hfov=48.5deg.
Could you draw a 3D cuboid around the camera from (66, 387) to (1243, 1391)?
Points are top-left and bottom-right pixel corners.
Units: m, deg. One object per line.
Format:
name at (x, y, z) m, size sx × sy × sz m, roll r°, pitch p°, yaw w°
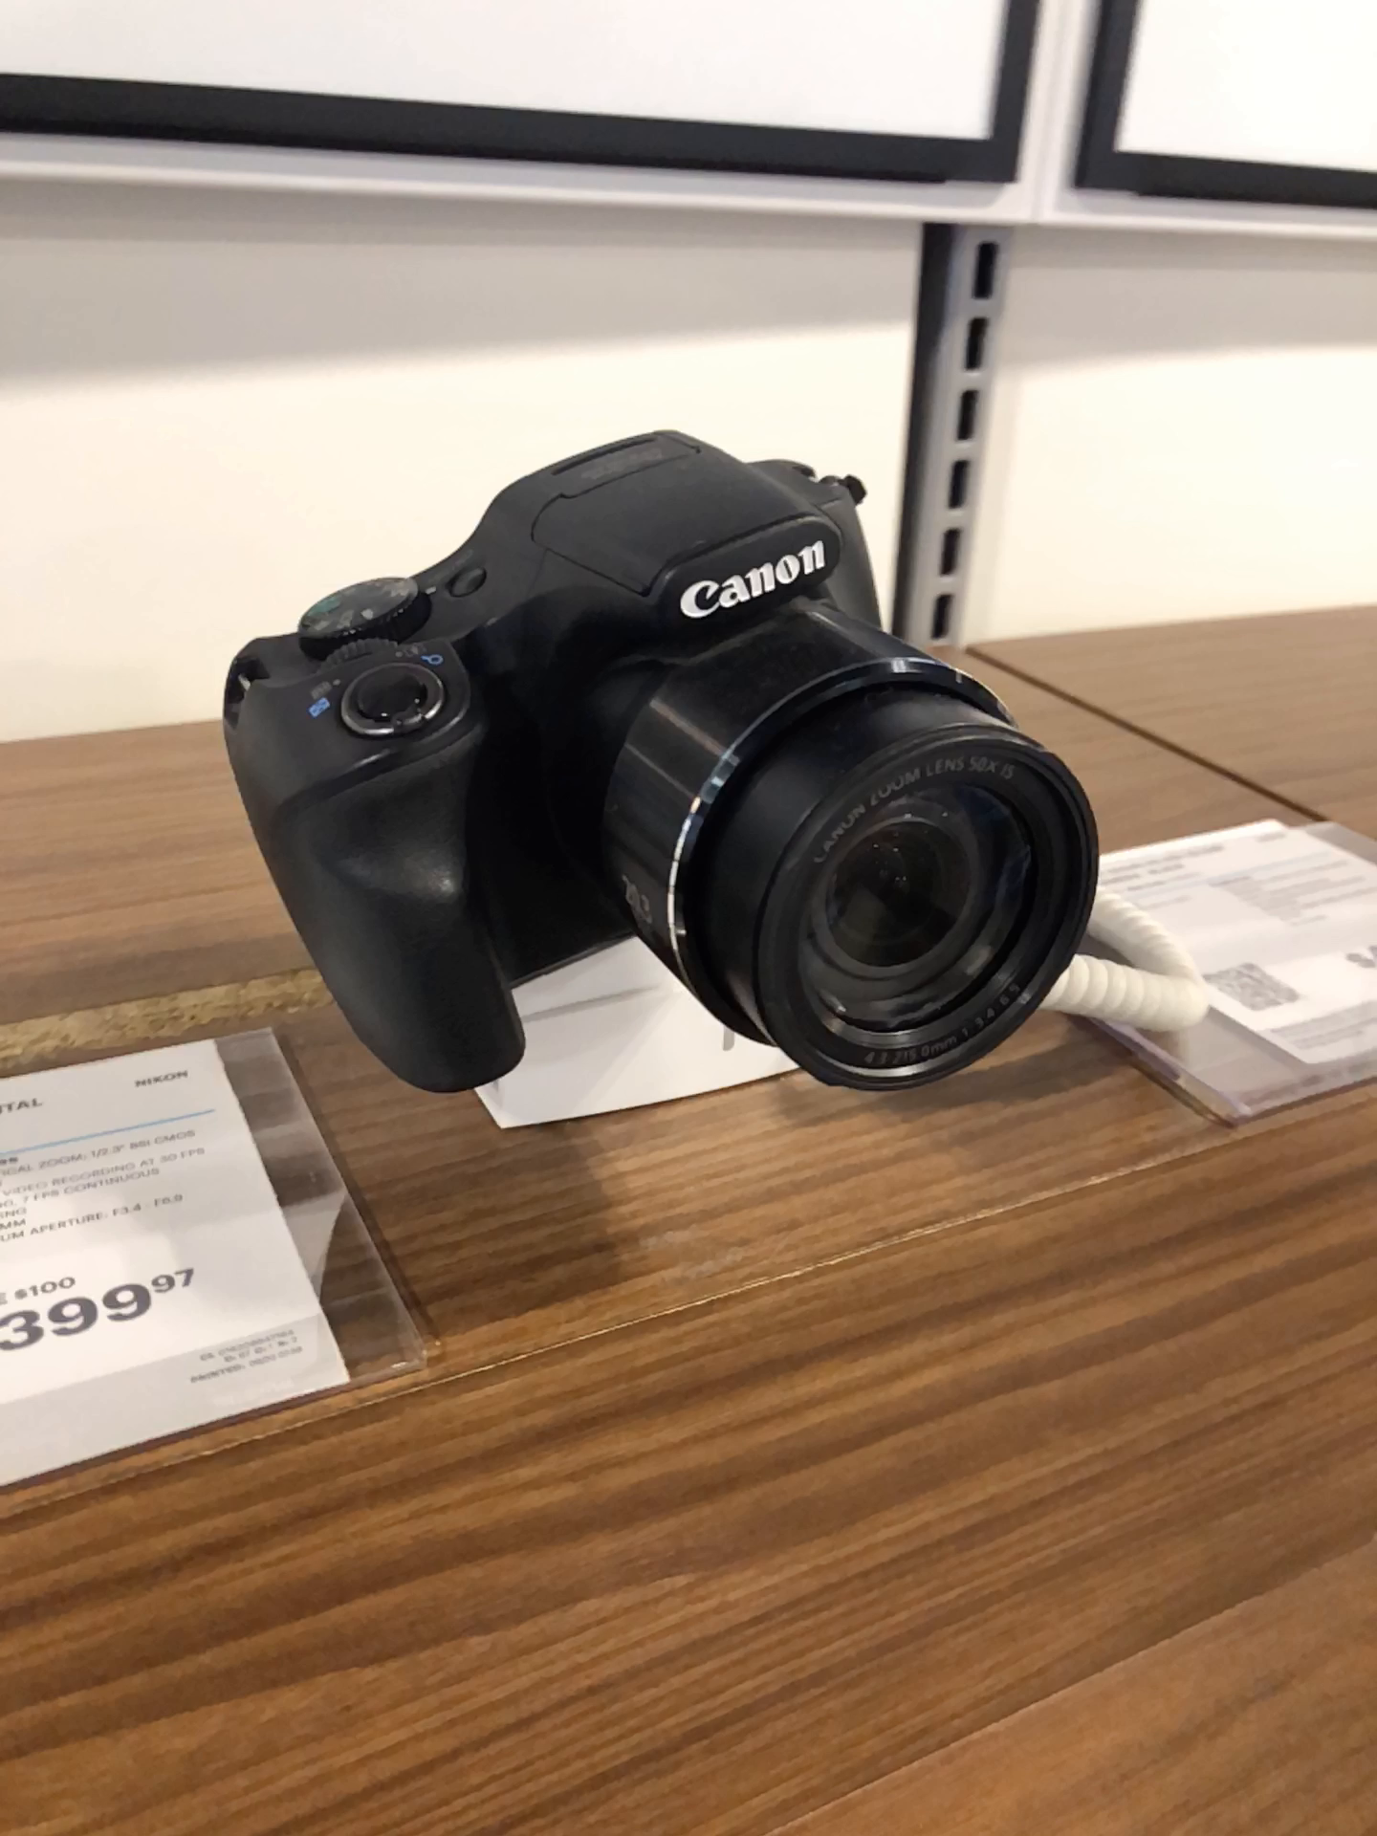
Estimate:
camera at (-0.011, -0.024, 0.251) m, size 0.130 × 0.070 × 0.141 m, roll -26°, pitch 35°, yaw -20°
